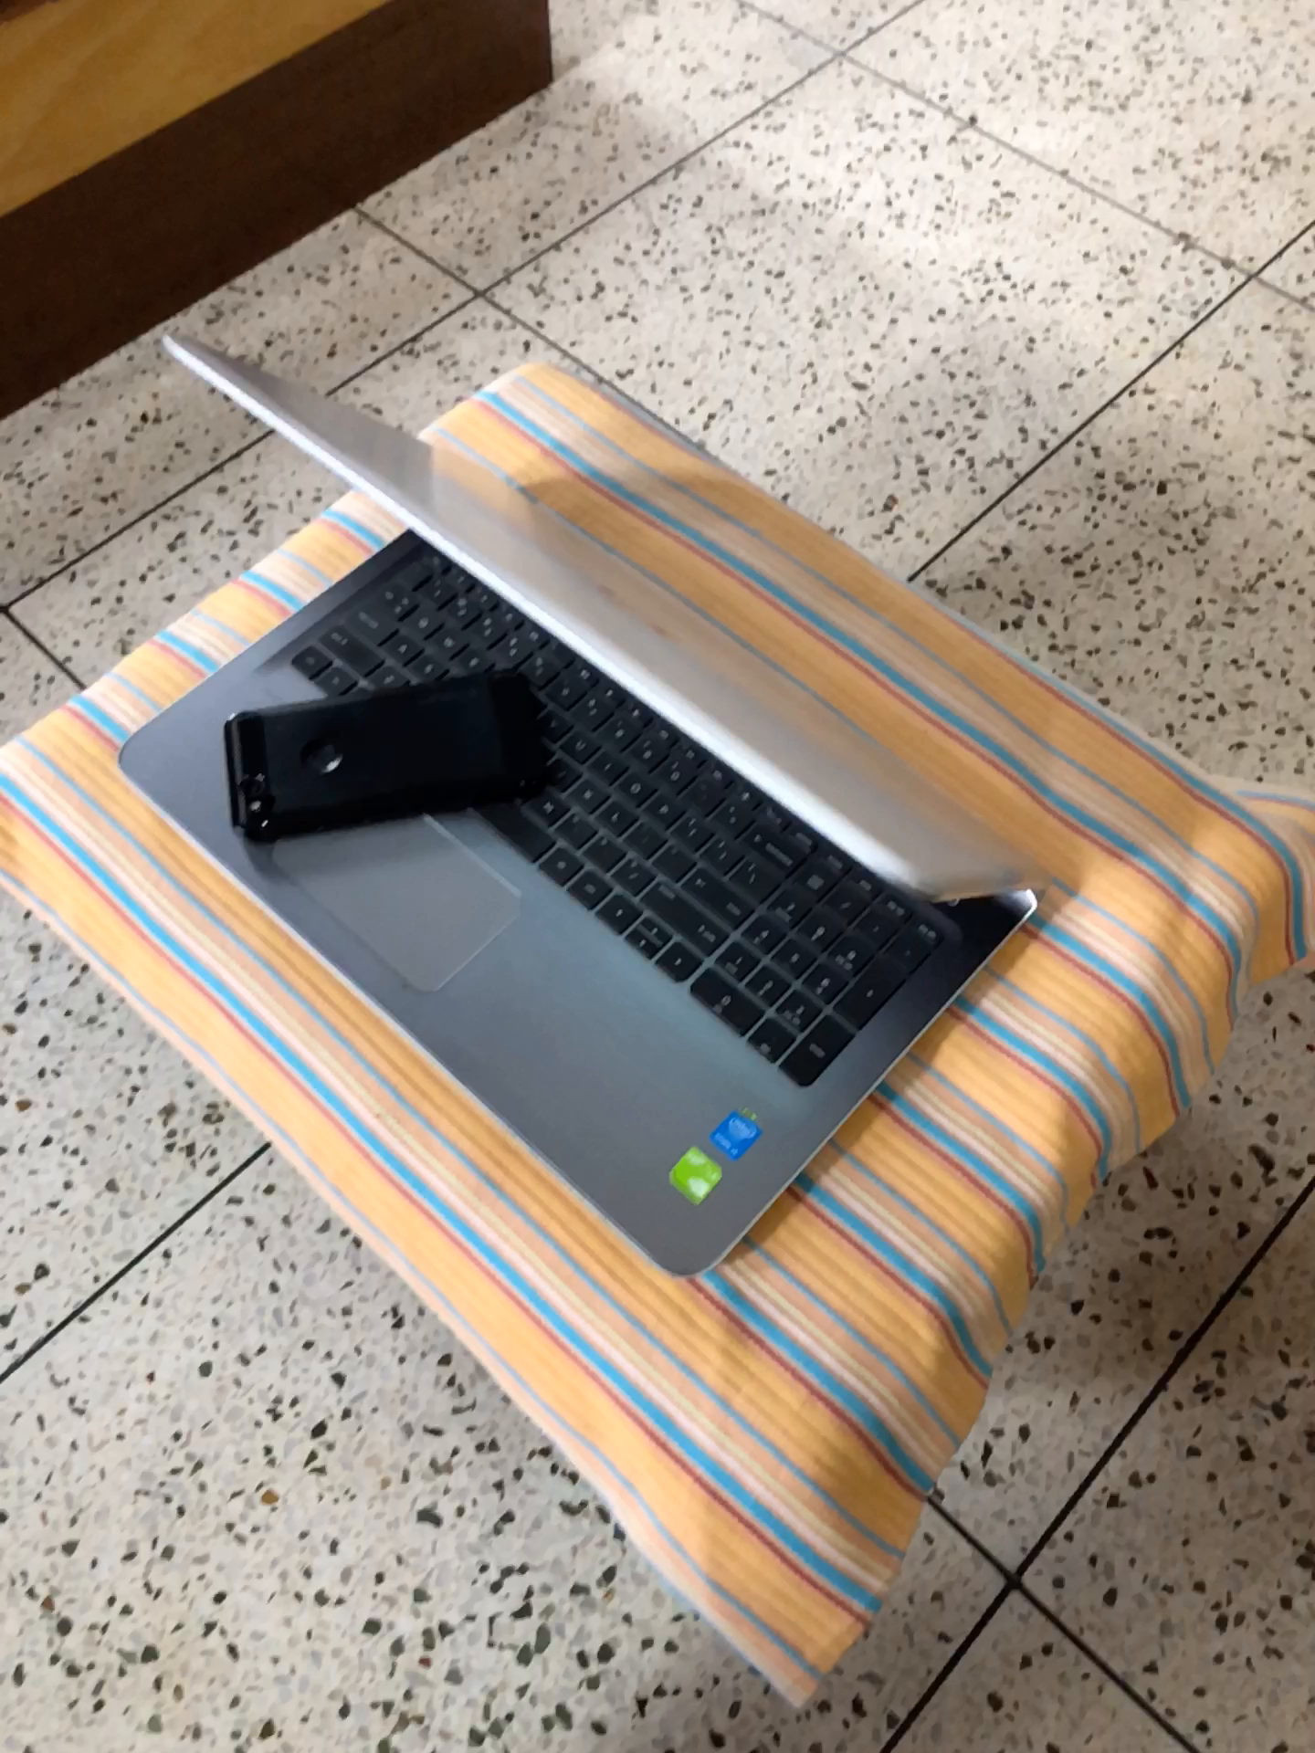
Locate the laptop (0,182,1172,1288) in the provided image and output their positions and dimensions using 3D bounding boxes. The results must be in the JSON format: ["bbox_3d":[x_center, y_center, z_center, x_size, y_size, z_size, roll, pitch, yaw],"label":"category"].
[{"bbox_3d":[-0.039,-0.068,0.599,0.372,0.184,0.237,39,67,19],"label":"laptop"}]
